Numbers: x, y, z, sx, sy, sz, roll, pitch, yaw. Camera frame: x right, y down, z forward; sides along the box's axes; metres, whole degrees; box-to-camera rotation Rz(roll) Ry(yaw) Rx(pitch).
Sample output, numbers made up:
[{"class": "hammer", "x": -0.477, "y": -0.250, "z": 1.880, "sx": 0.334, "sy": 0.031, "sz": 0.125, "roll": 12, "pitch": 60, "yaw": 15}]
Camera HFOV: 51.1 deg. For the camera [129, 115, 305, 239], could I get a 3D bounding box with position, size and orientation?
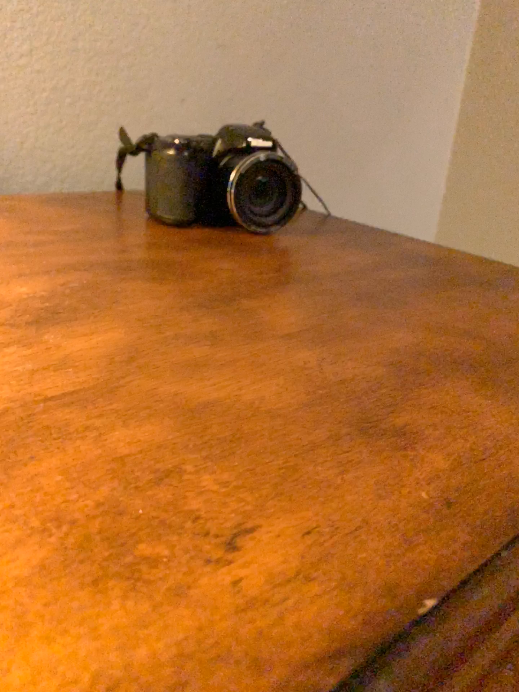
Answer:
[{"class": "camera", "x": -0.042, "y": -0.147, "z": 0.462, "sx": 0.110, "sy": 0.081, "sz": 0.123, "roll": -6, "pitch": 25, "yaw": -23}]
